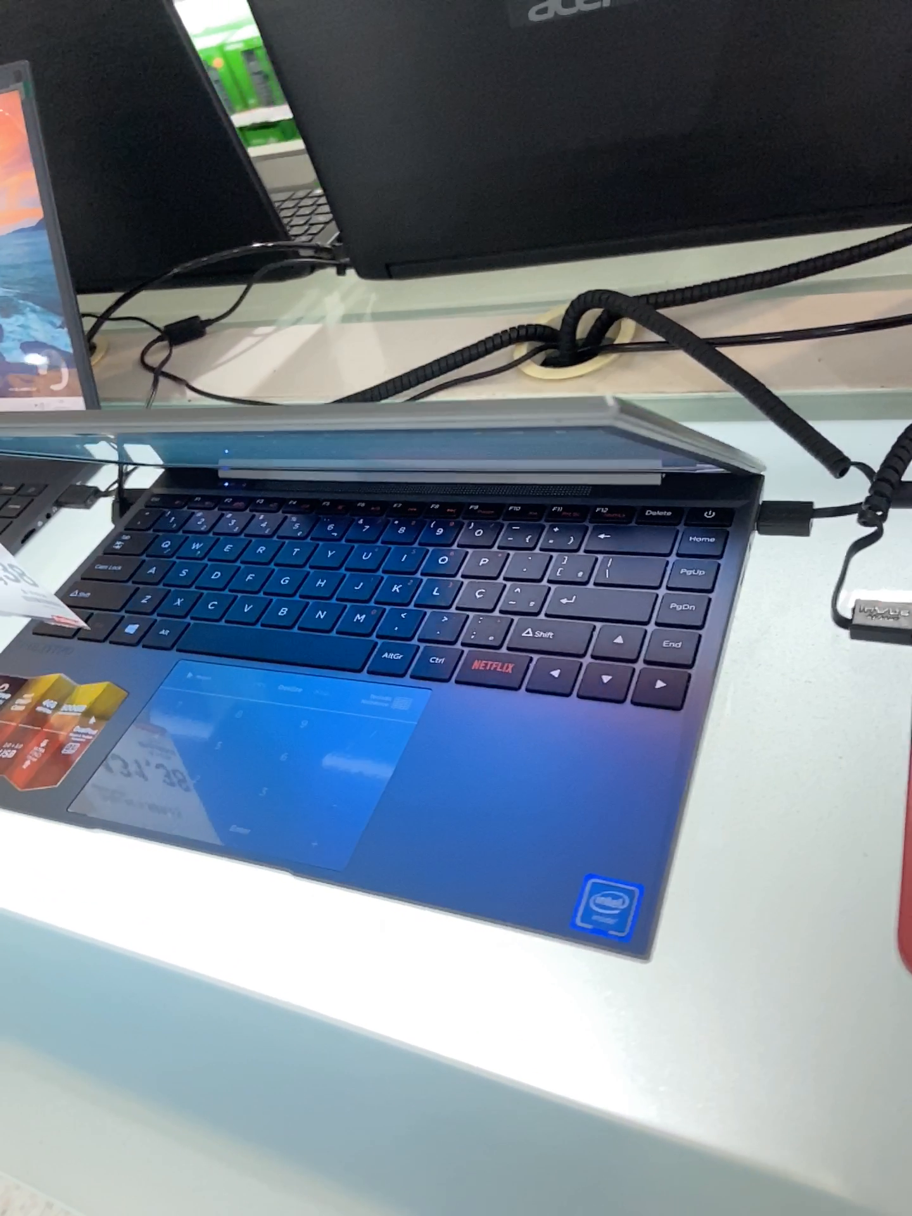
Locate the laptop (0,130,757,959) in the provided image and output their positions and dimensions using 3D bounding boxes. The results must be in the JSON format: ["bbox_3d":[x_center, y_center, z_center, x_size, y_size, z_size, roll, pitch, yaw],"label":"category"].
[{"bbox_3d":[-0.078,-0.039,0.350,0.328,0.139,0.211,4,47,26],"label":"laptop"}]
